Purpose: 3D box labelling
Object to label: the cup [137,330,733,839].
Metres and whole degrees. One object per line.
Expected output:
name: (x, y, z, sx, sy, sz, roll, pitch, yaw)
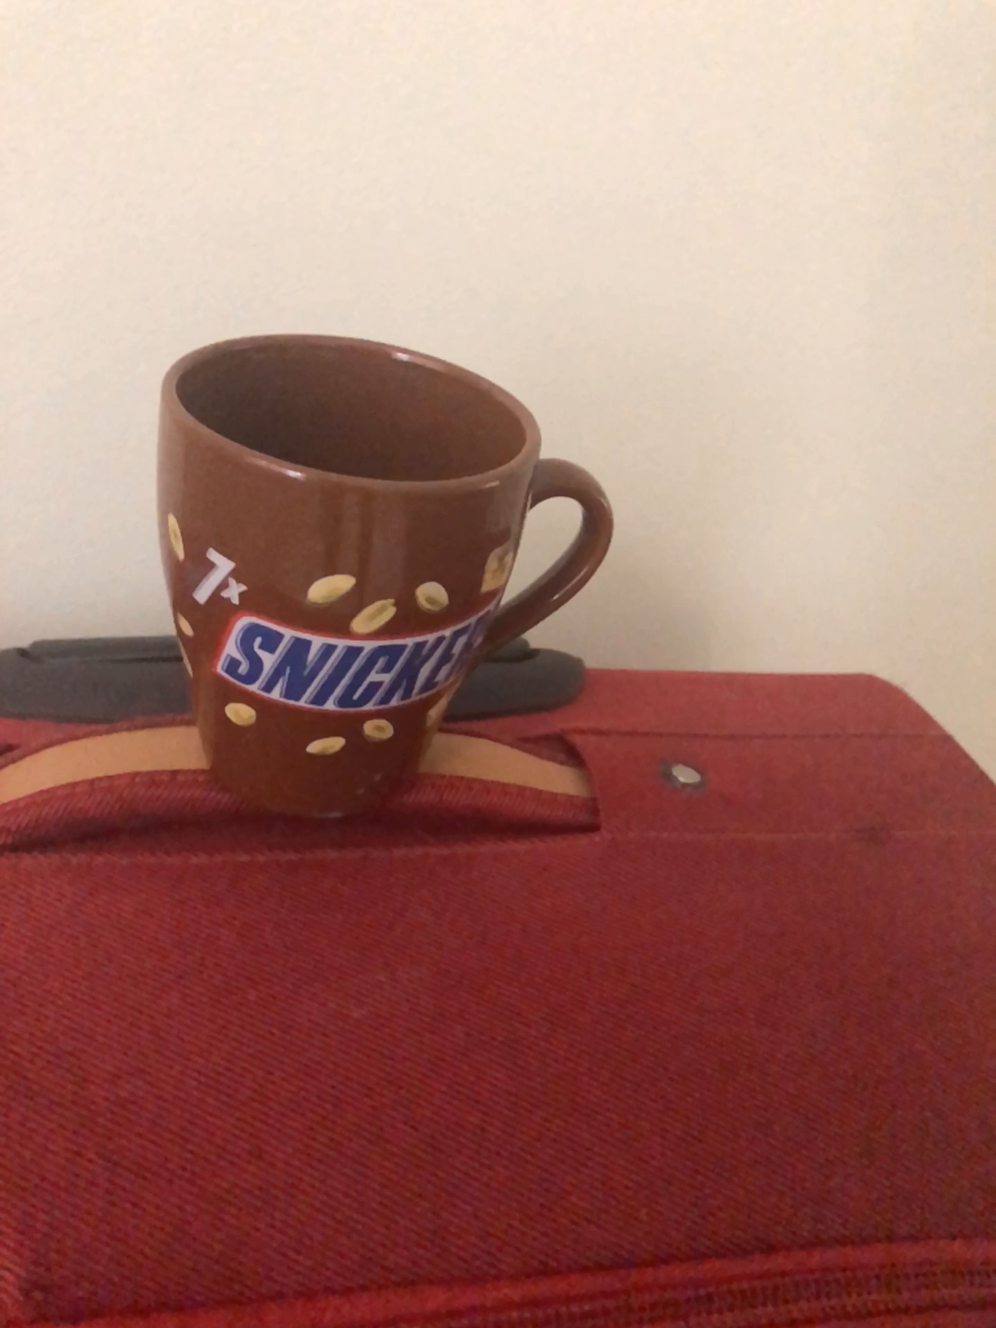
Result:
cup: (-0.024, -0.024, 0.265, 0.115, 0.080, 0.088, -3, 36, -17)
